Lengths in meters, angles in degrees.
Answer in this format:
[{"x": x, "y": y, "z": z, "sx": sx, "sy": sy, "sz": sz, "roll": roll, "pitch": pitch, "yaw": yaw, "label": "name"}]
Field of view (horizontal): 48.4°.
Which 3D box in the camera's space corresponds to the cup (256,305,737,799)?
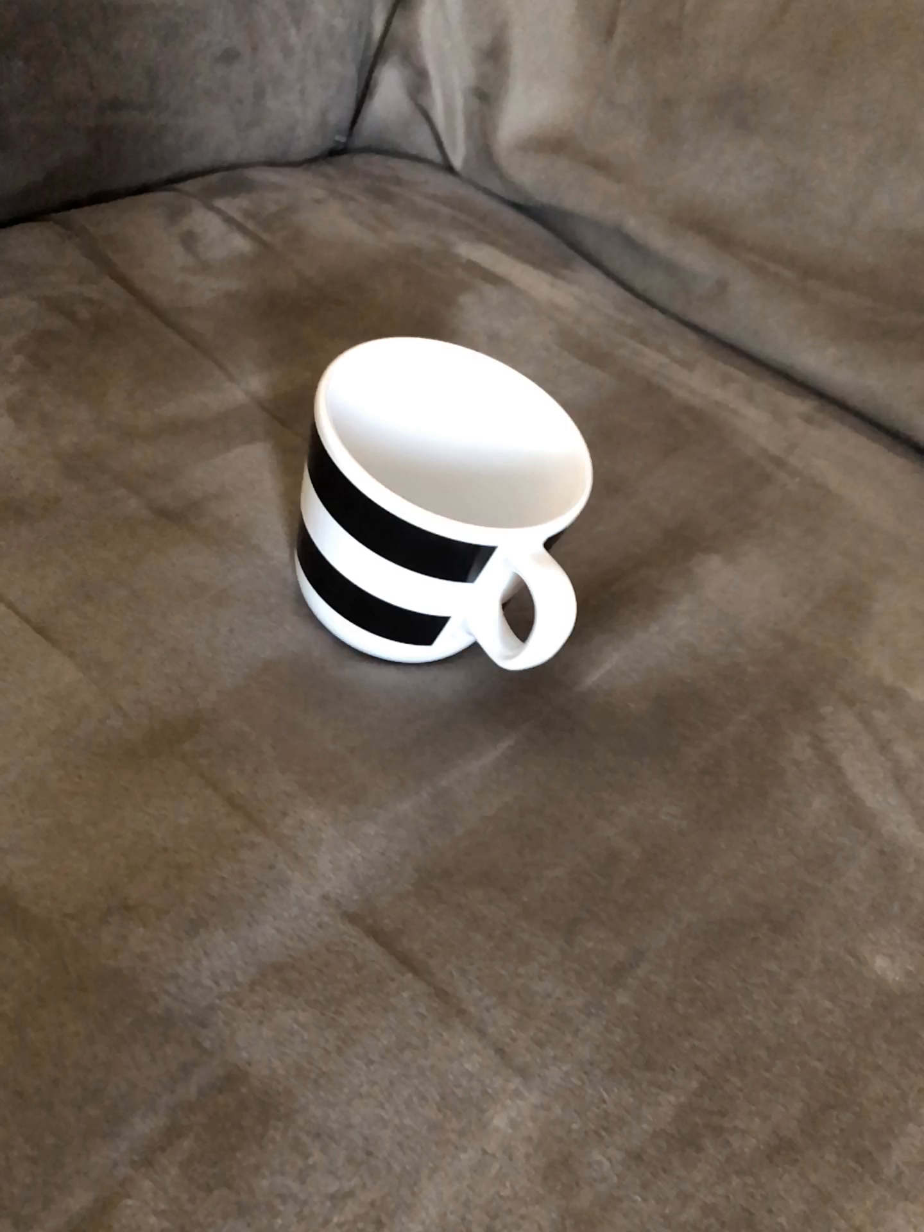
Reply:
[{"x": 0.003, "y": -0.023, "z": 0.309, "sx": 0.080, "sy": 0.080, "sz": 0.110, "roll": -15, "pitch": 58, "yaw": -31, "label": "cup"}]
